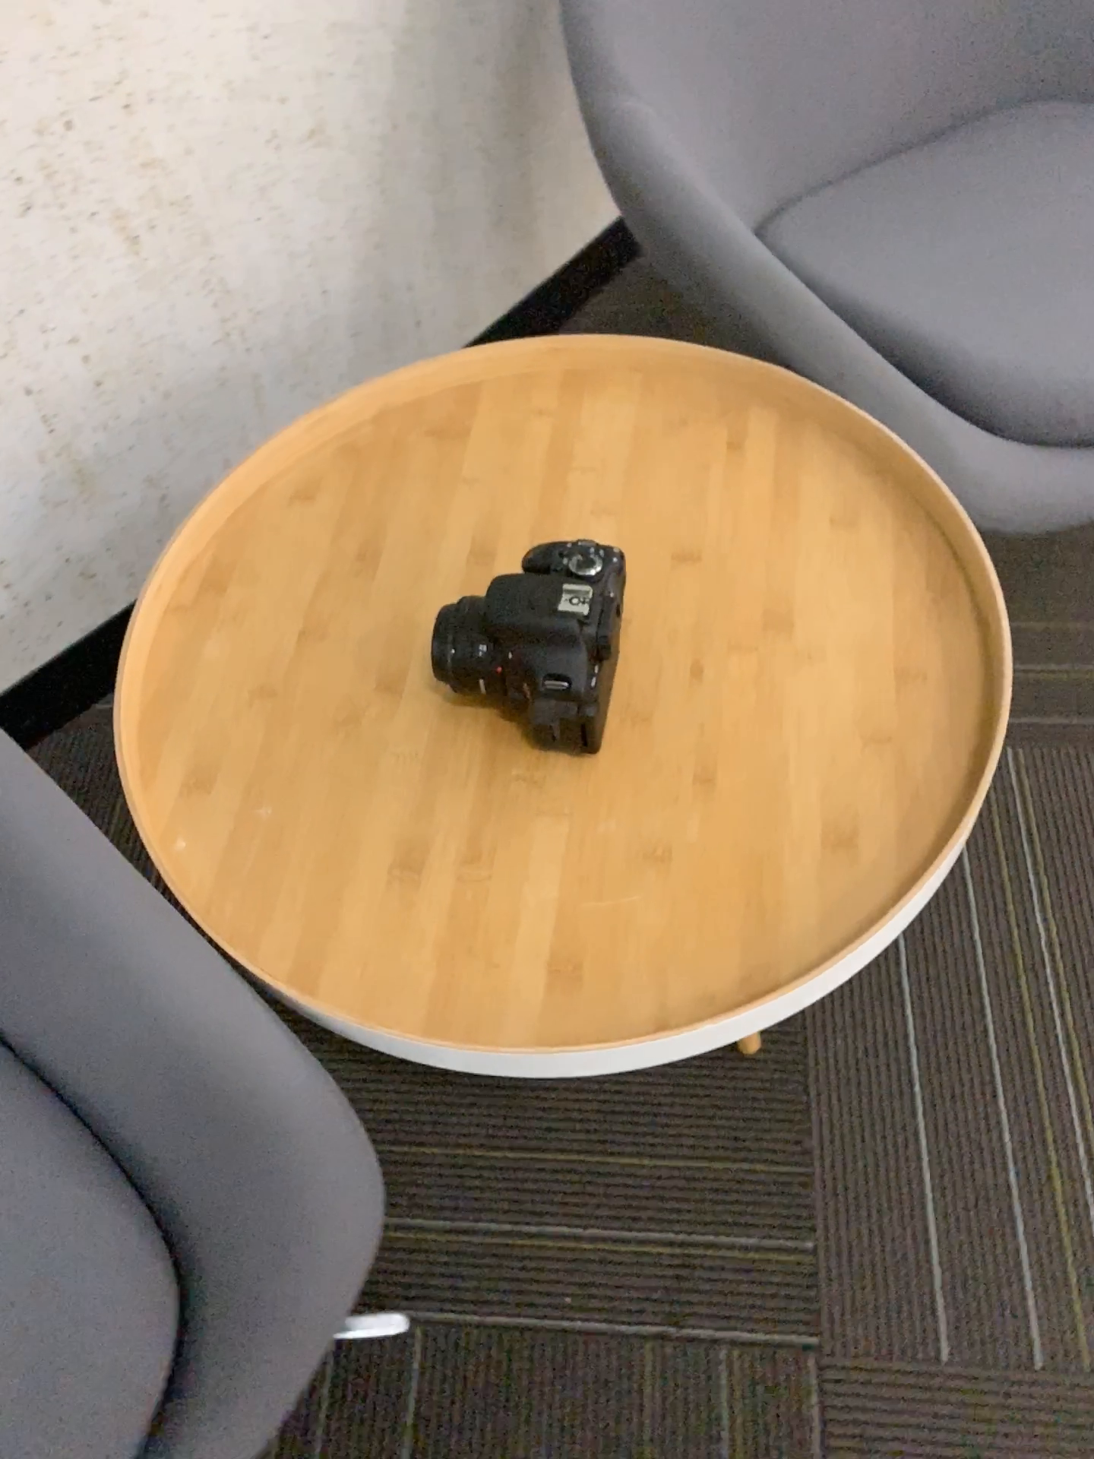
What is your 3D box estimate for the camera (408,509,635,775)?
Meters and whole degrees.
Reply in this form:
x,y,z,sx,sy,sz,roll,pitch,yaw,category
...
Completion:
x,y,z,sx,sy,sz,roll,pitch,yaw,category
-0.011,-0.060,0.765,0.120,0.100,0.134,8,58,10,camera
